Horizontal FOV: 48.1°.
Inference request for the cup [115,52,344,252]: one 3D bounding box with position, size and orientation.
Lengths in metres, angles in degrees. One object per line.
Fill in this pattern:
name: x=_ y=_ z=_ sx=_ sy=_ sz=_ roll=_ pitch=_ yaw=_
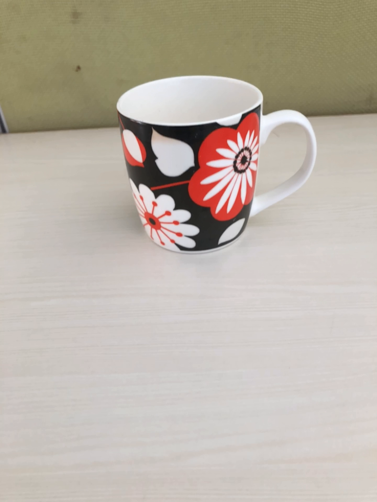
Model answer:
cup: x=0.019 y=-0.070 z=0.280 sx=0.120 sy=0.089 sz=0.091 roll=-8 pitch=36 yaw=-5
